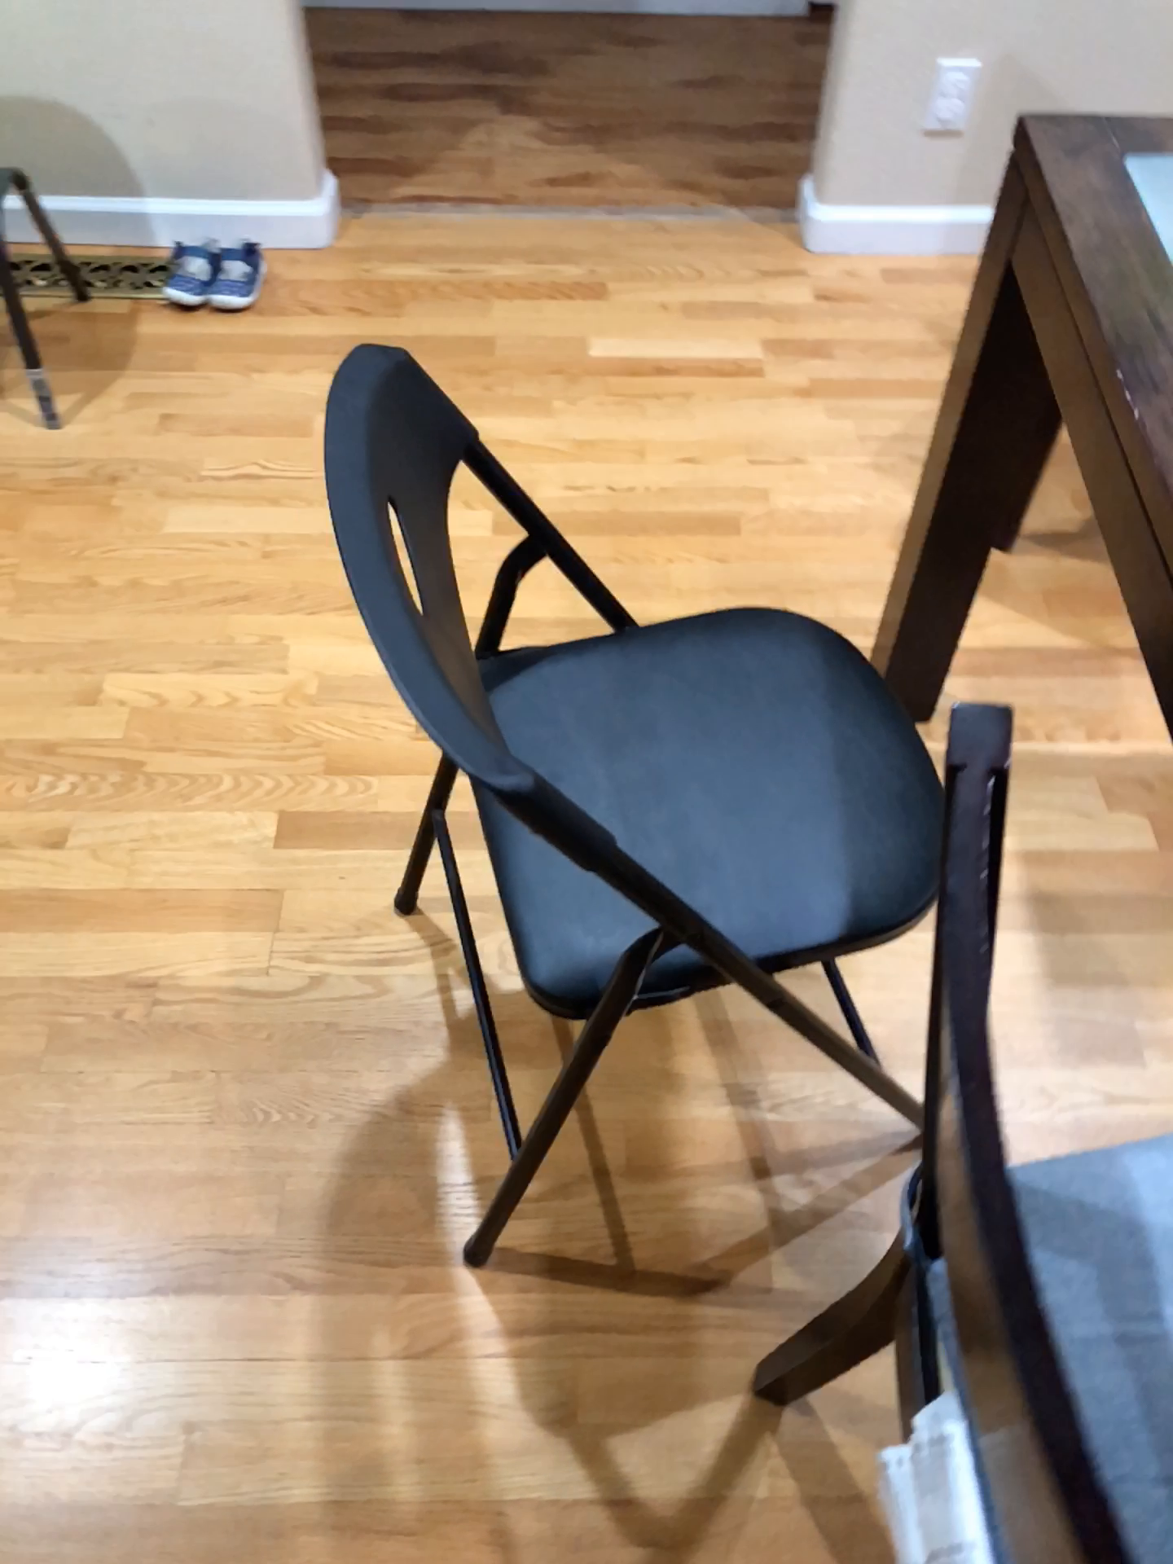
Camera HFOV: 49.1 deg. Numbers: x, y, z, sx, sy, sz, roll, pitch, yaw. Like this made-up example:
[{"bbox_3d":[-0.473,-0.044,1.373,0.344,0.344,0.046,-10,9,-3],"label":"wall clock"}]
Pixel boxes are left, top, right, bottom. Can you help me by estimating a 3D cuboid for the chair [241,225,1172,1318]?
[{"bbox_3d":[0.059,0.024,1.082,0.520,0.697,0.522,-10,53,-9],"label":"chair"}]
